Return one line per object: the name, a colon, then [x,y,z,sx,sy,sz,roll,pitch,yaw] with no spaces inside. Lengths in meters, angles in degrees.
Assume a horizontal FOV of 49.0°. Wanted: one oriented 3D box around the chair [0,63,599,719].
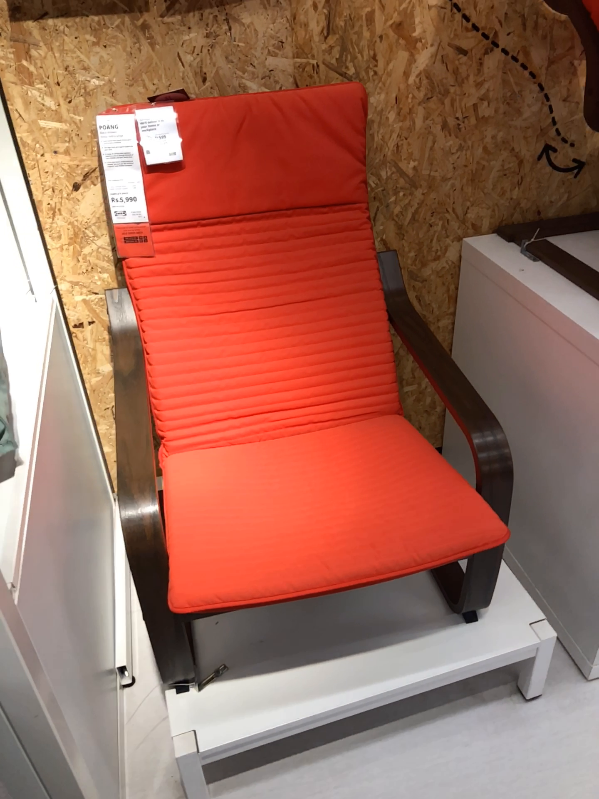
chair: [-0.030,-0.085,1.300,0.750,0.894,0.795,-10,35,-10]
